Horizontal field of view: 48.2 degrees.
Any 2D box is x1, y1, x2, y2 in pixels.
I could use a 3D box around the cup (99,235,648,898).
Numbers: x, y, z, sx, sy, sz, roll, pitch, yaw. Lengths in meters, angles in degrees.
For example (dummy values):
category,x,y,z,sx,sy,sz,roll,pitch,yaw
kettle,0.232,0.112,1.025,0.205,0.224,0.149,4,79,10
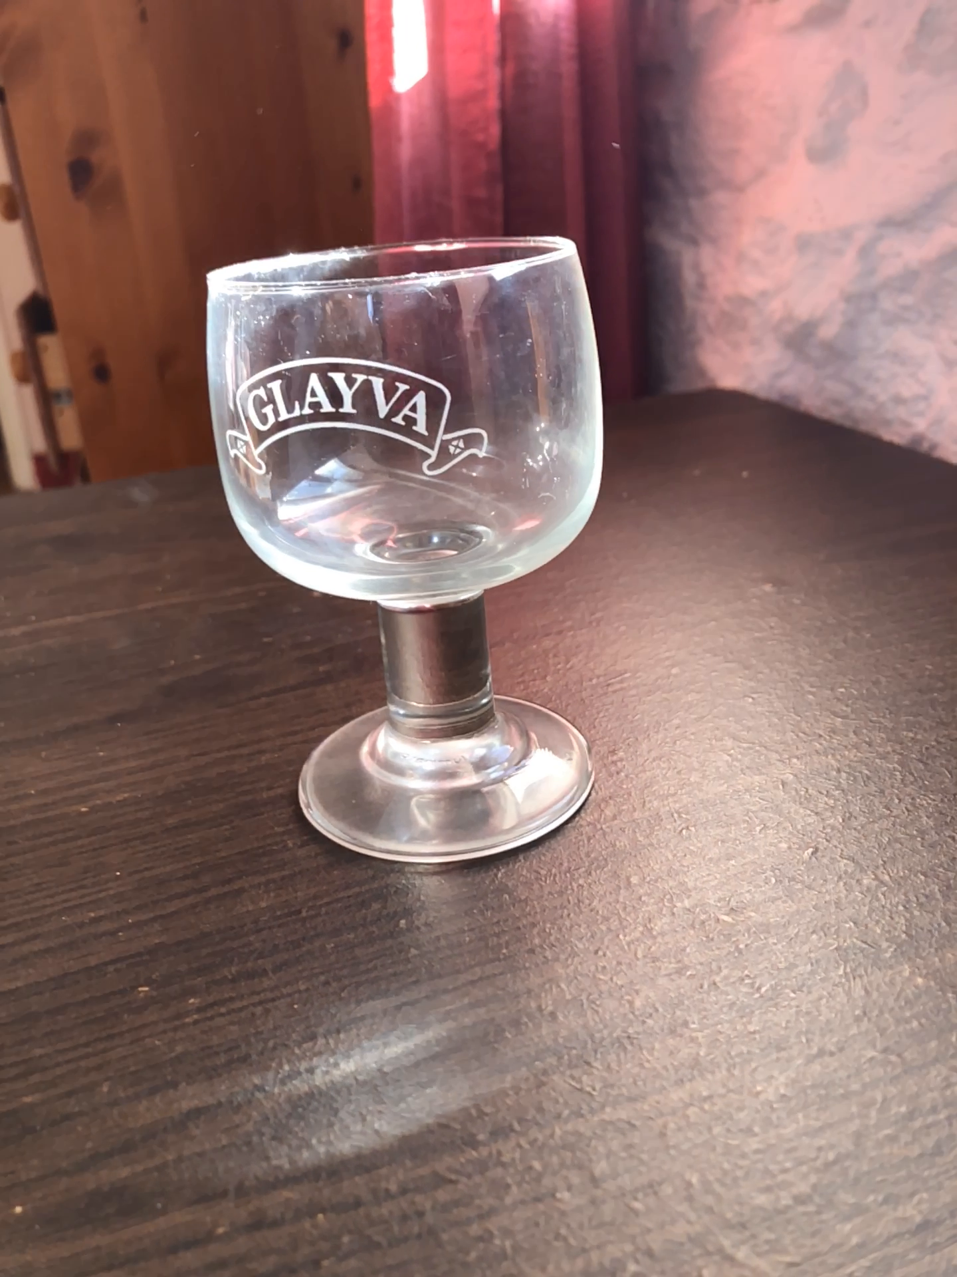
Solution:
category,x,y,z,sx,sy,sz,roll,pitch,yaw
cup,-0.010,-0.022,0.220,0.077,0.107,0.086,4,24,15
